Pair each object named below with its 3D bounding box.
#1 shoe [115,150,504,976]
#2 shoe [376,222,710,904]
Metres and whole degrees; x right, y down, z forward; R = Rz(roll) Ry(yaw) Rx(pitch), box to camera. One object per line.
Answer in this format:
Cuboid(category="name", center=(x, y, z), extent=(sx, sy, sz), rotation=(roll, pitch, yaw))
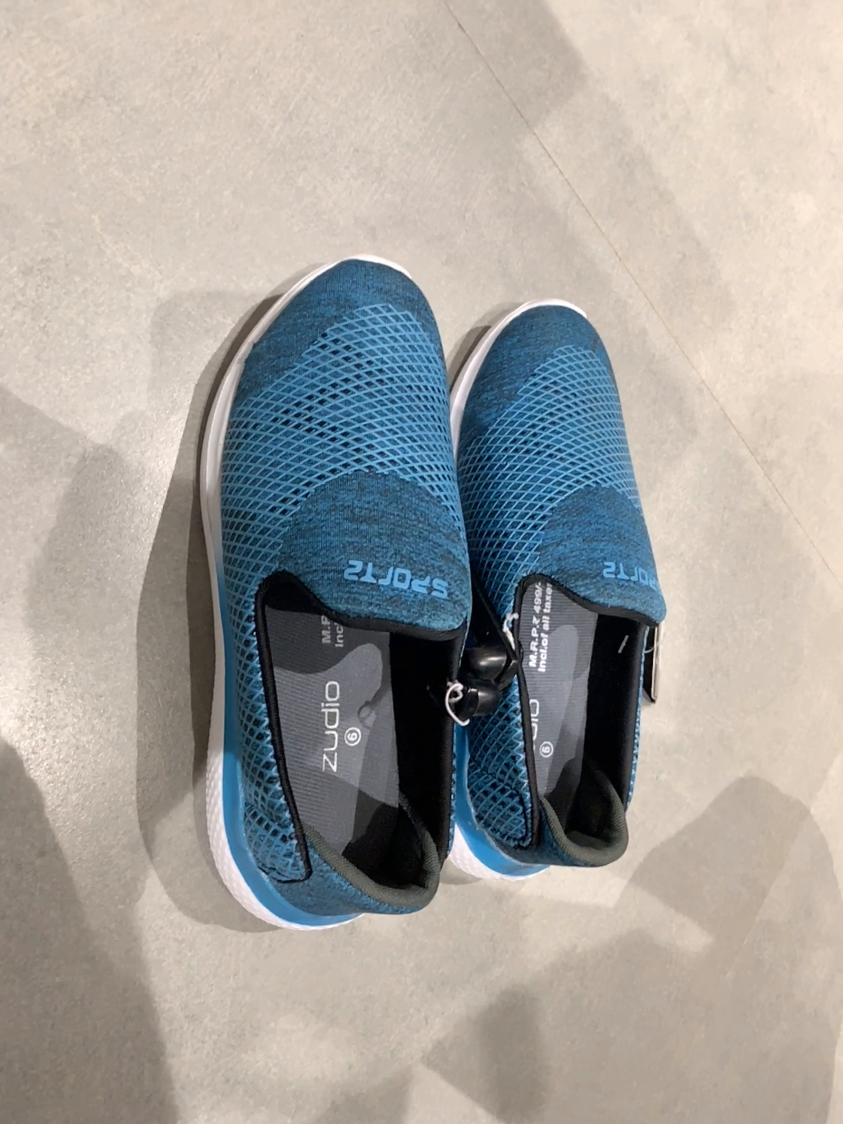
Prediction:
Cuboid(category="shoe", center=(-0.041, 0.002, 0.333), extent=(0.110, 0.080, 0.260), rotation=(6, 83, -30))
Cuboid(category="shoe", center=(0.053, 0.004, 0.370), extent=(0.090, 0.080, 0.250), rotation=(11, 81, -29))
